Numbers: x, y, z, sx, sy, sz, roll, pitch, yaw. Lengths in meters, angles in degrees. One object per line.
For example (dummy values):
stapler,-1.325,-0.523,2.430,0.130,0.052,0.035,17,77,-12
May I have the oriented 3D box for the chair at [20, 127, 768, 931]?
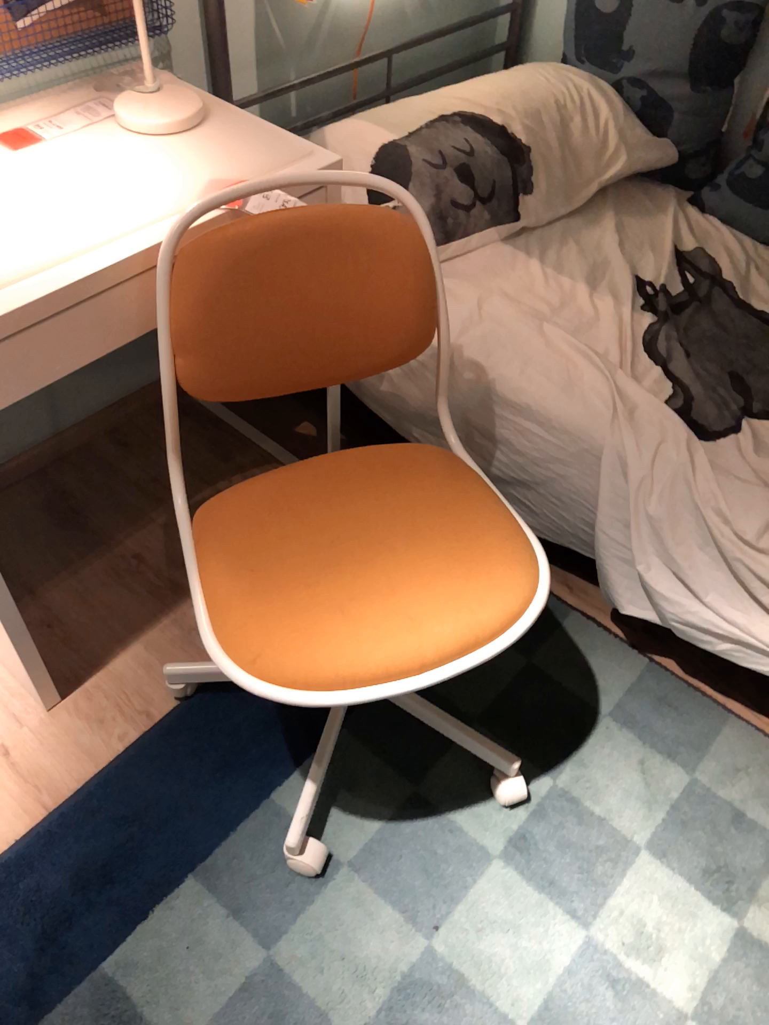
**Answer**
chair,-0.029,0.040,1.129,0.611,0.795,0.563,-15,51,-16
